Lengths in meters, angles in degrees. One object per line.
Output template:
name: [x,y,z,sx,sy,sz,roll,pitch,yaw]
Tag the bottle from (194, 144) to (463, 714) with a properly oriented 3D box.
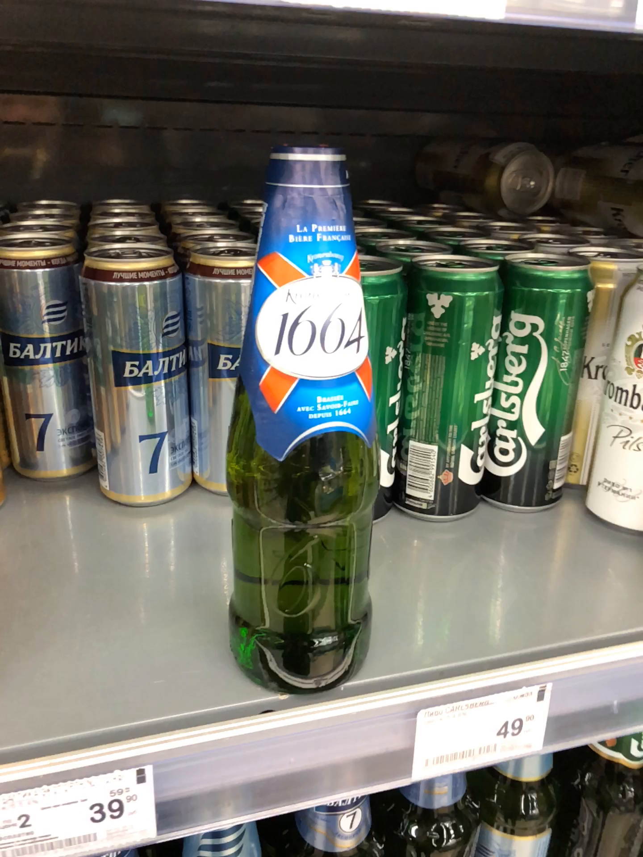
bottle: [-0.006,-0.001,0.314,0.080,0.229,0.080,2,22,-1]
